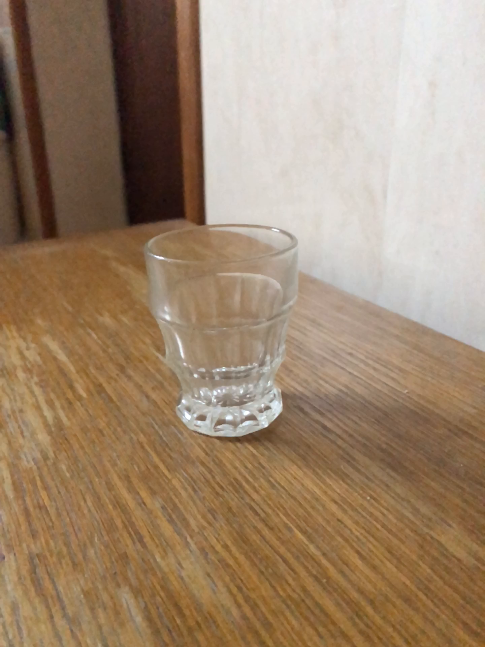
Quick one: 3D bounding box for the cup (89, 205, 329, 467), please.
[{"bbox_3d":[-0.011,-0.001,0.206,0.060,0.070,0.060,0,23,0],"label":"cup"}]
